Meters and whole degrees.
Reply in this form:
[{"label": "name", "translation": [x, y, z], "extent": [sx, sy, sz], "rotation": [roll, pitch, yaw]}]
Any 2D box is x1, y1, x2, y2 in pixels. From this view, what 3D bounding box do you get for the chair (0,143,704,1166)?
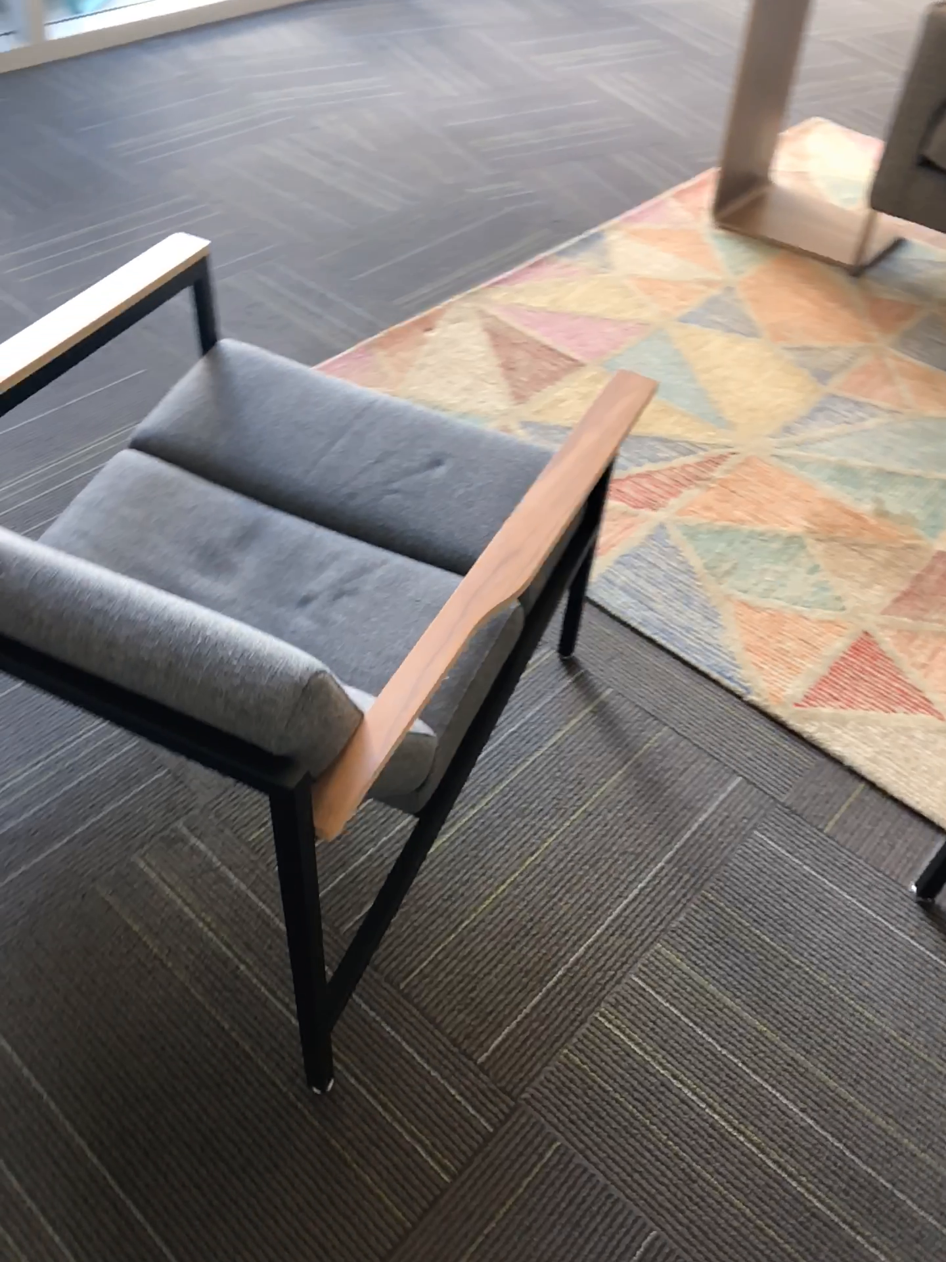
[{"label": "chair", "translation": [-0.278, -0.055, 1.365], "extent": [0.791, 0.697, 0.923], "rotation": [20, 46, 15]}]
